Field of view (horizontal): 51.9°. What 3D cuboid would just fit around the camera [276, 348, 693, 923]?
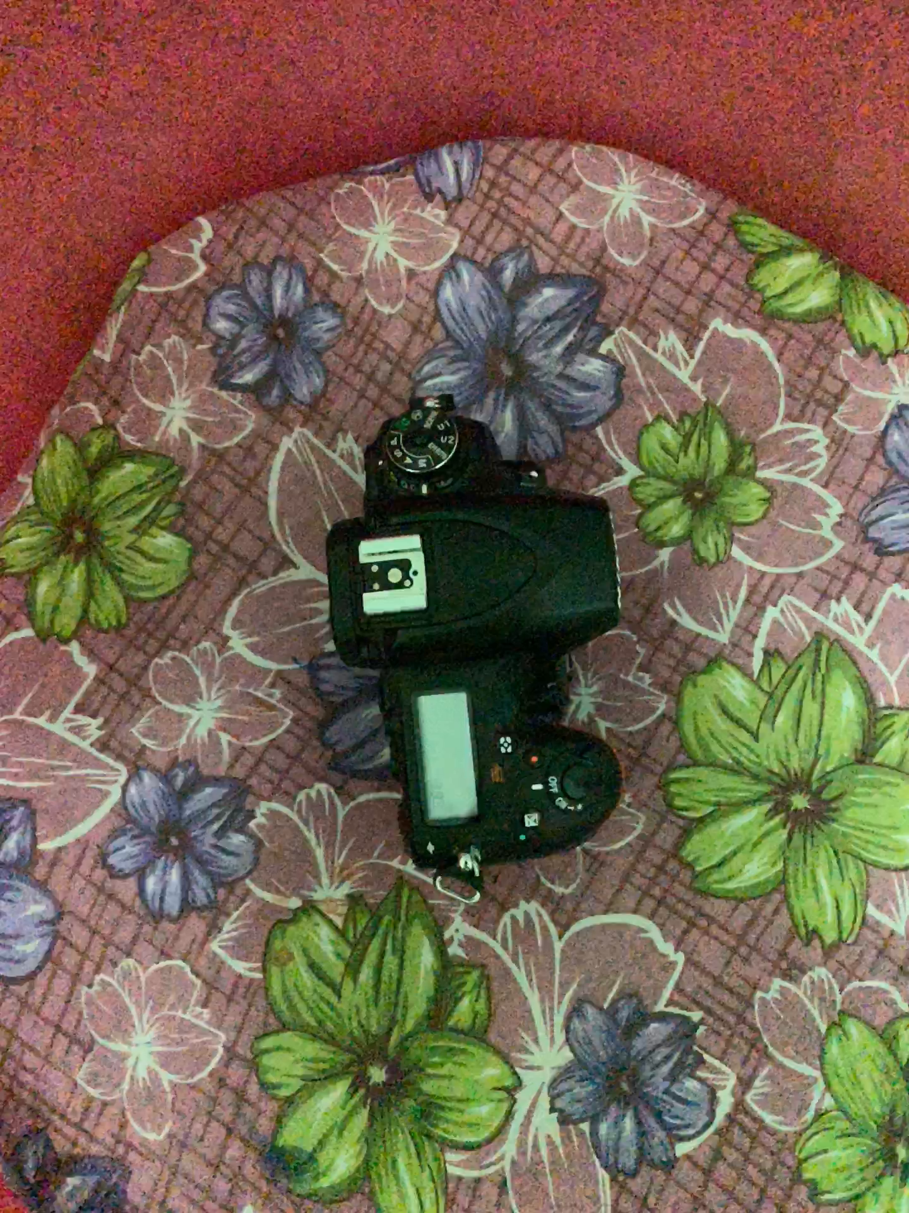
[{"bbox_3d":[0.007,0.009,0.289,0.092,0.090,0.140,-7,87,-1],"label":"camera"}]
